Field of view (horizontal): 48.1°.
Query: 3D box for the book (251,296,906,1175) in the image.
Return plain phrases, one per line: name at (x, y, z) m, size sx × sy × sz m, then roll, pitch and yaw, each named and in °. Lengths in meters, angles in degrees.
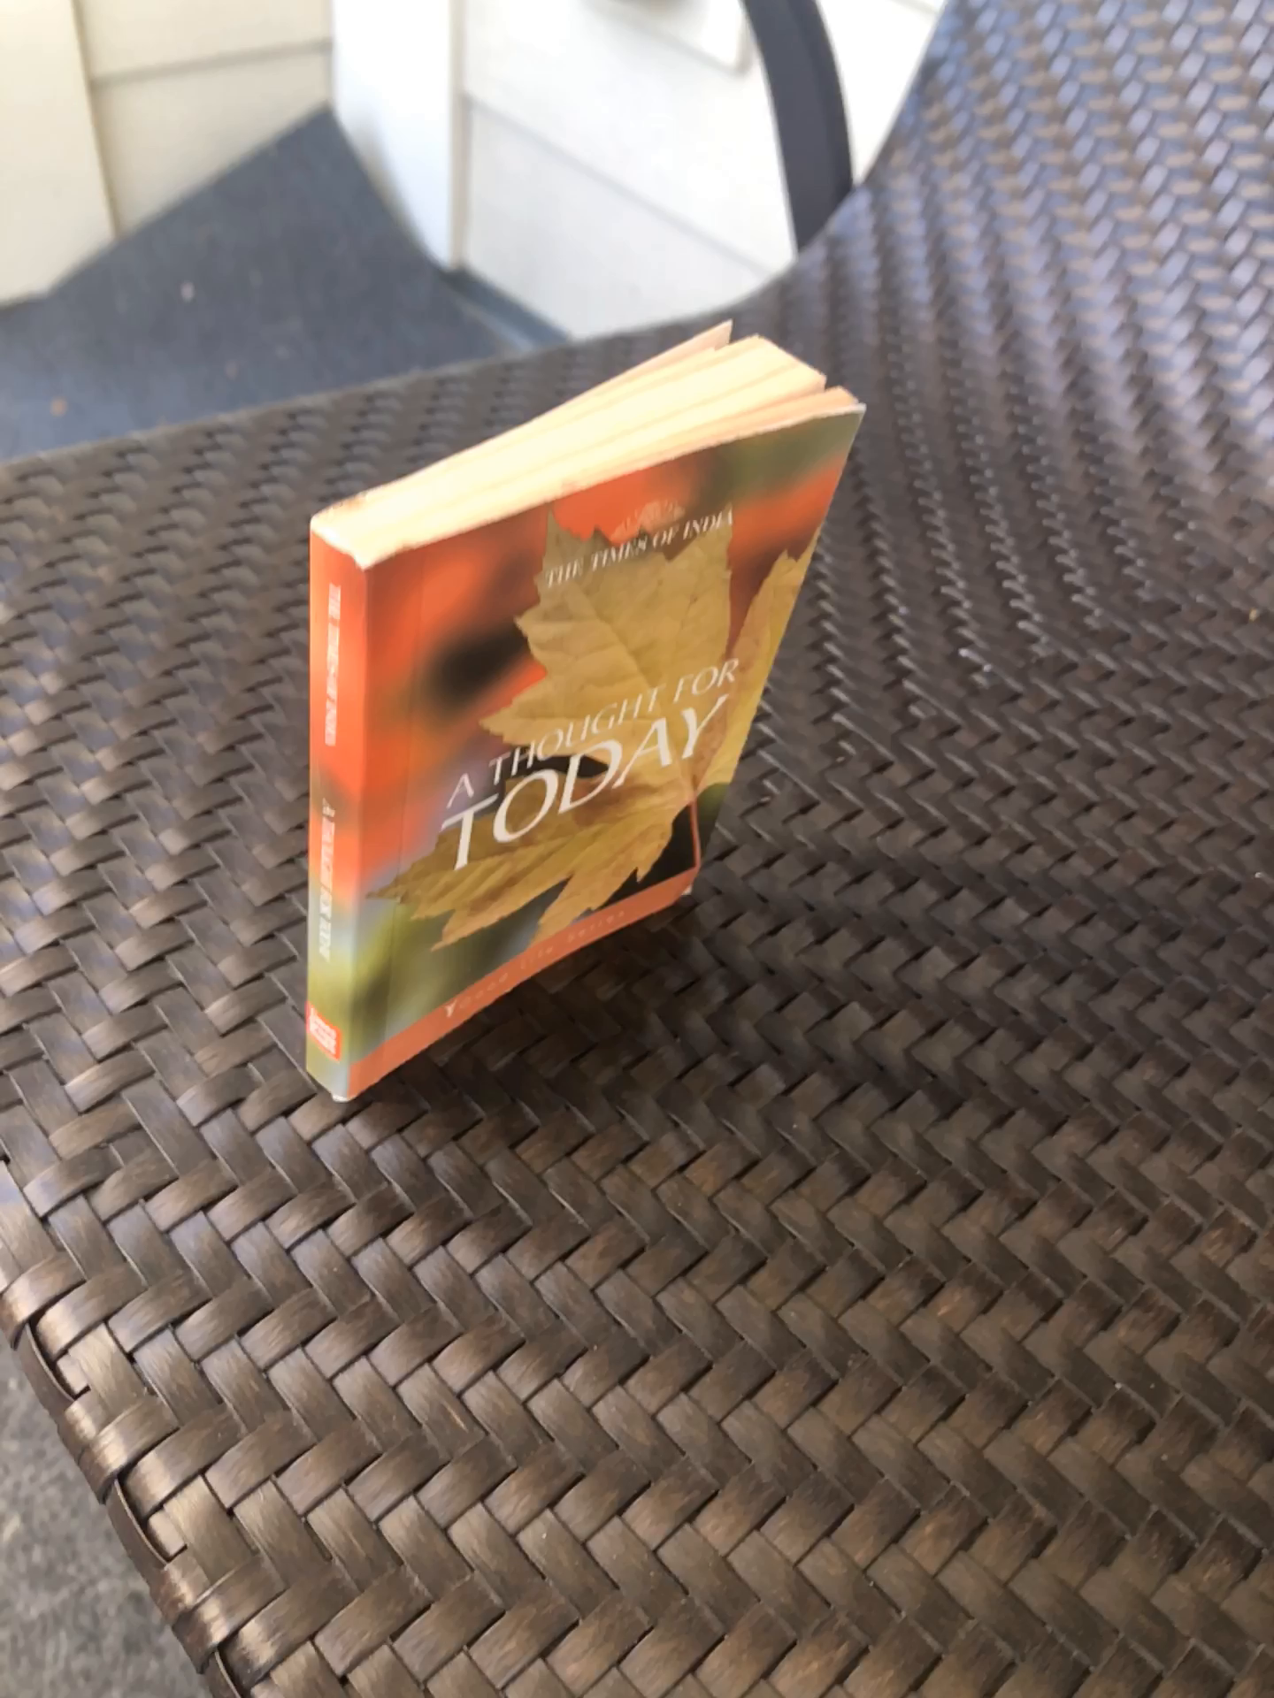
book at (-0.011, -0.017, 0.255) m, size 0.031 × 0.128 × 0.106 m, roll 37°, pitch 53°, yaw 22°
